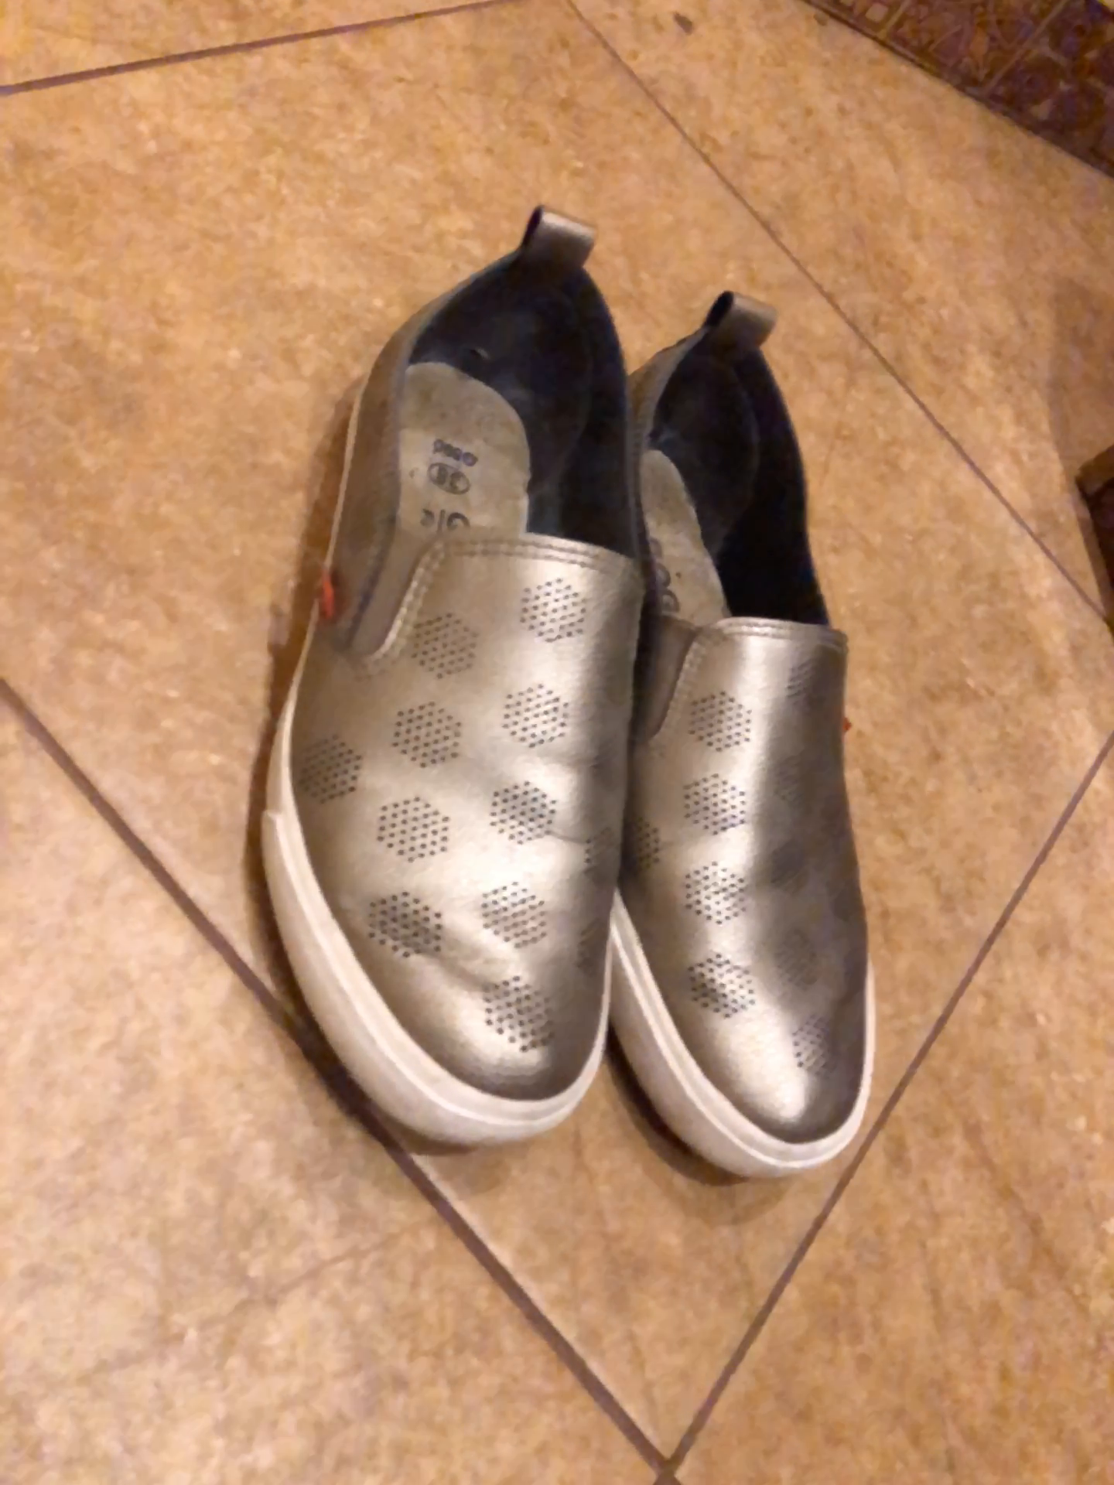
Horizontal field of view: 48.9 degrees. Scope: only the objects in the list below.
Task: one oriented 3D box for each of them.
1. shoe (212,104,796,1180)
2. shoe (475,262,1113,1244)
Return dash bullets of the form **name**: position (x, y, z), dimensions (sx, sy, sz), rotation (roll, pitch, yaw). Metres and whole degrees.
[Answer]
- **shoe**: position (-0.022, -0.025, 0.320), dimensions (0.090, 0.100, 0.251), rotation (12, 60, -27)
- **shoe**: position (0.056, 0.005, 0.352), dimensions (0.100, 0.109, 0.241), rotation (7, 62, -29)
